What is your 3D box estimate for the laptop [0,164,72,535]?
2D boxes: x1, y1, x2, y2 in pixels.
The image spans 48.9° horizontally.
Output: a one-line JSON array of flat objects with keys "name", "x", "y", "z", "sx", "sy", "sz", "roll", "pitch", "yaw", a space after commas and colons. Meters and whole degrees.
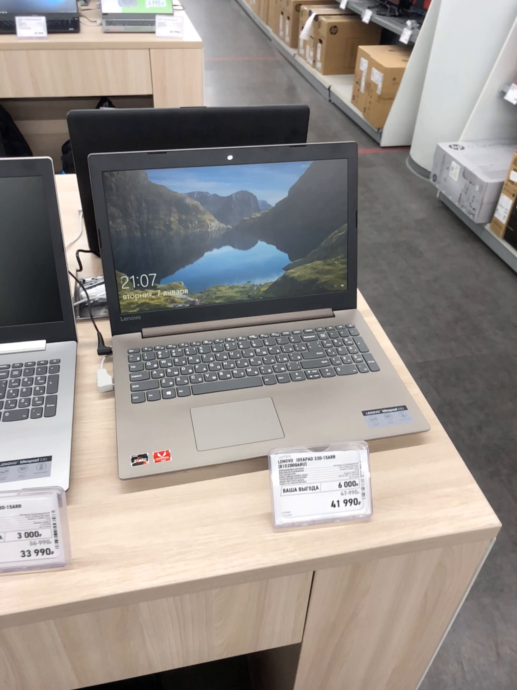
[{"name": "laptop", "x": -0.396, "y": -0.025, "z": 0.602, "sx": 0.343, "sy": 0.207, "sz": 0.324, "roll": -6, "pitch": 40, "yaw": -13}]

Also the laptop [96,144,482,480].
[{"name": "laptop", "x": 0.000, "y": -0.066, "z": 0.686, "sx": 0.350, "sy": 0.209, "sz": 0.330, "roll": -7, "pitch": 41, "yaw": -11}]
